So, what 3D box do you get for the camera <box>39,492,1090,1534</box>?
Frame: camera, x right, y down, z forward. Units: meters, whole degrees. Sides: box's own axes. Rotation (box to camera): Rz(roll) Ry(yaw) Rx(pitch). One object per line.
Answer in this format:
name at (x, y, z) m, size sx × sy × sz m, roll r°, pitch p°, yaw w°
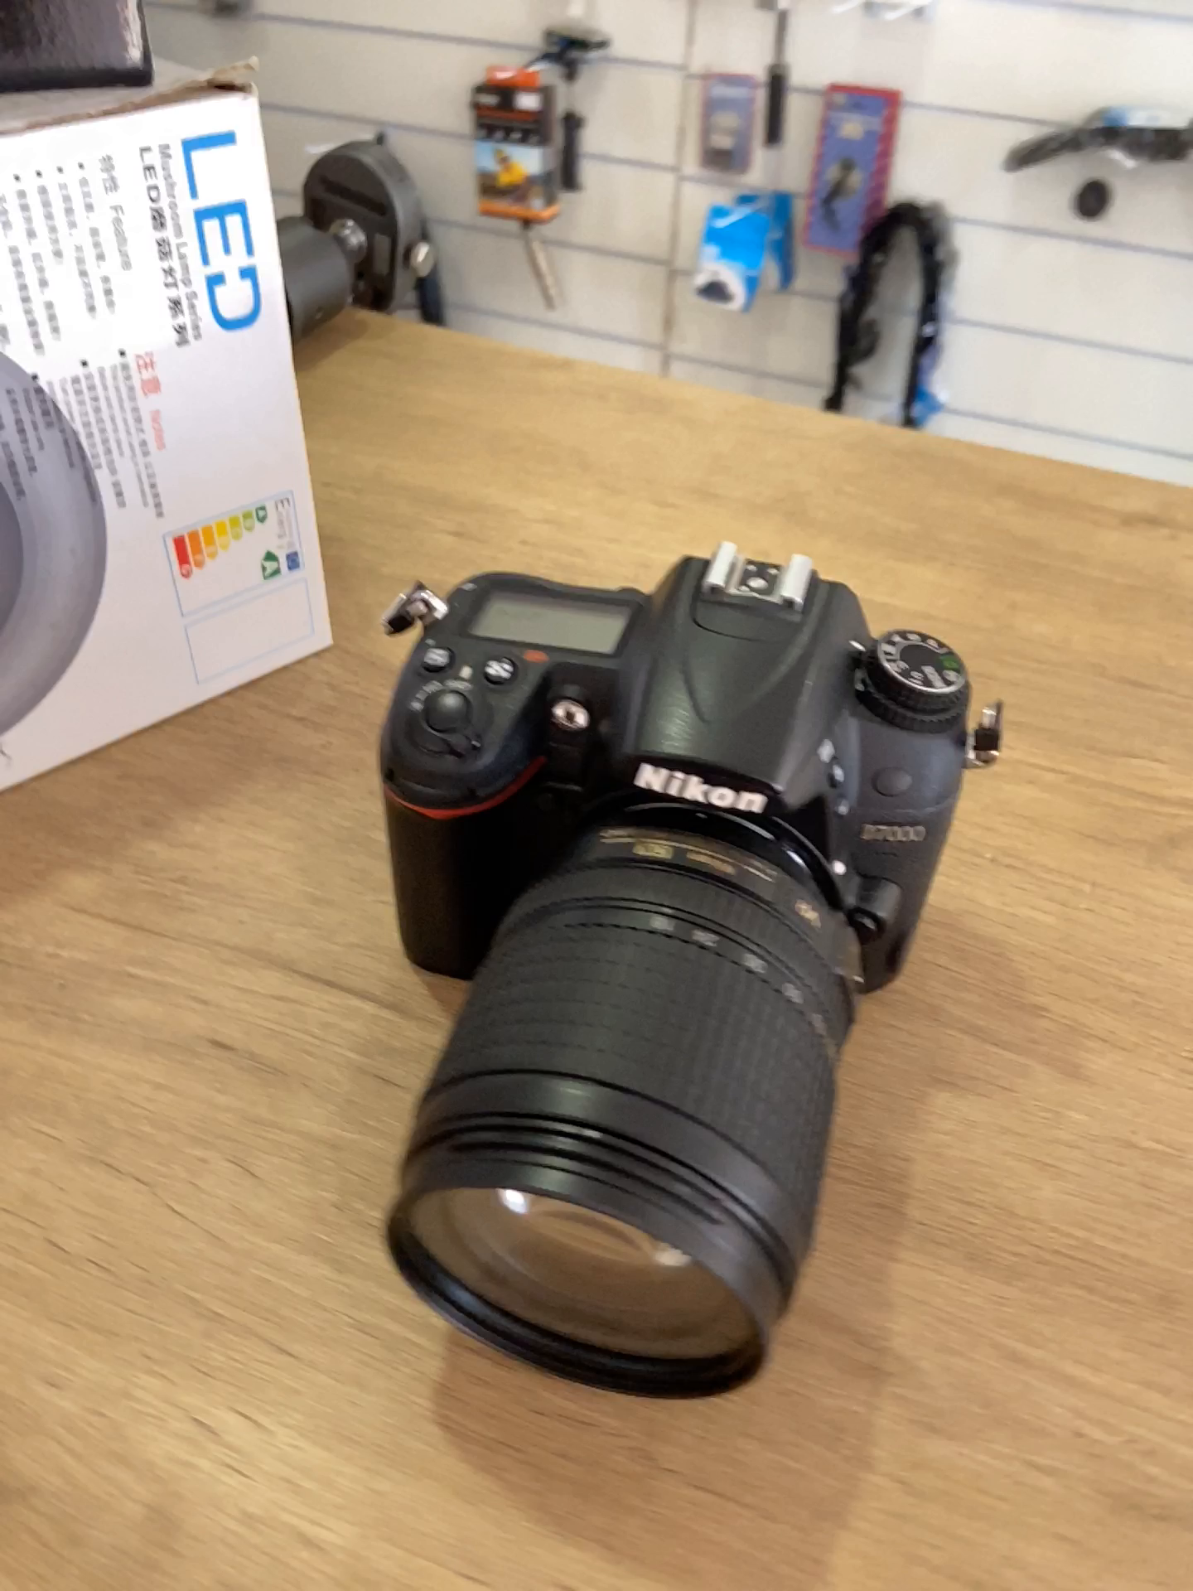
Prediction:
camera at (0.008, 0.028, 0.252) m, size 0.140 × 0.099 × 0.161 m, roll 9°, pitch 41°, yaw 9°
